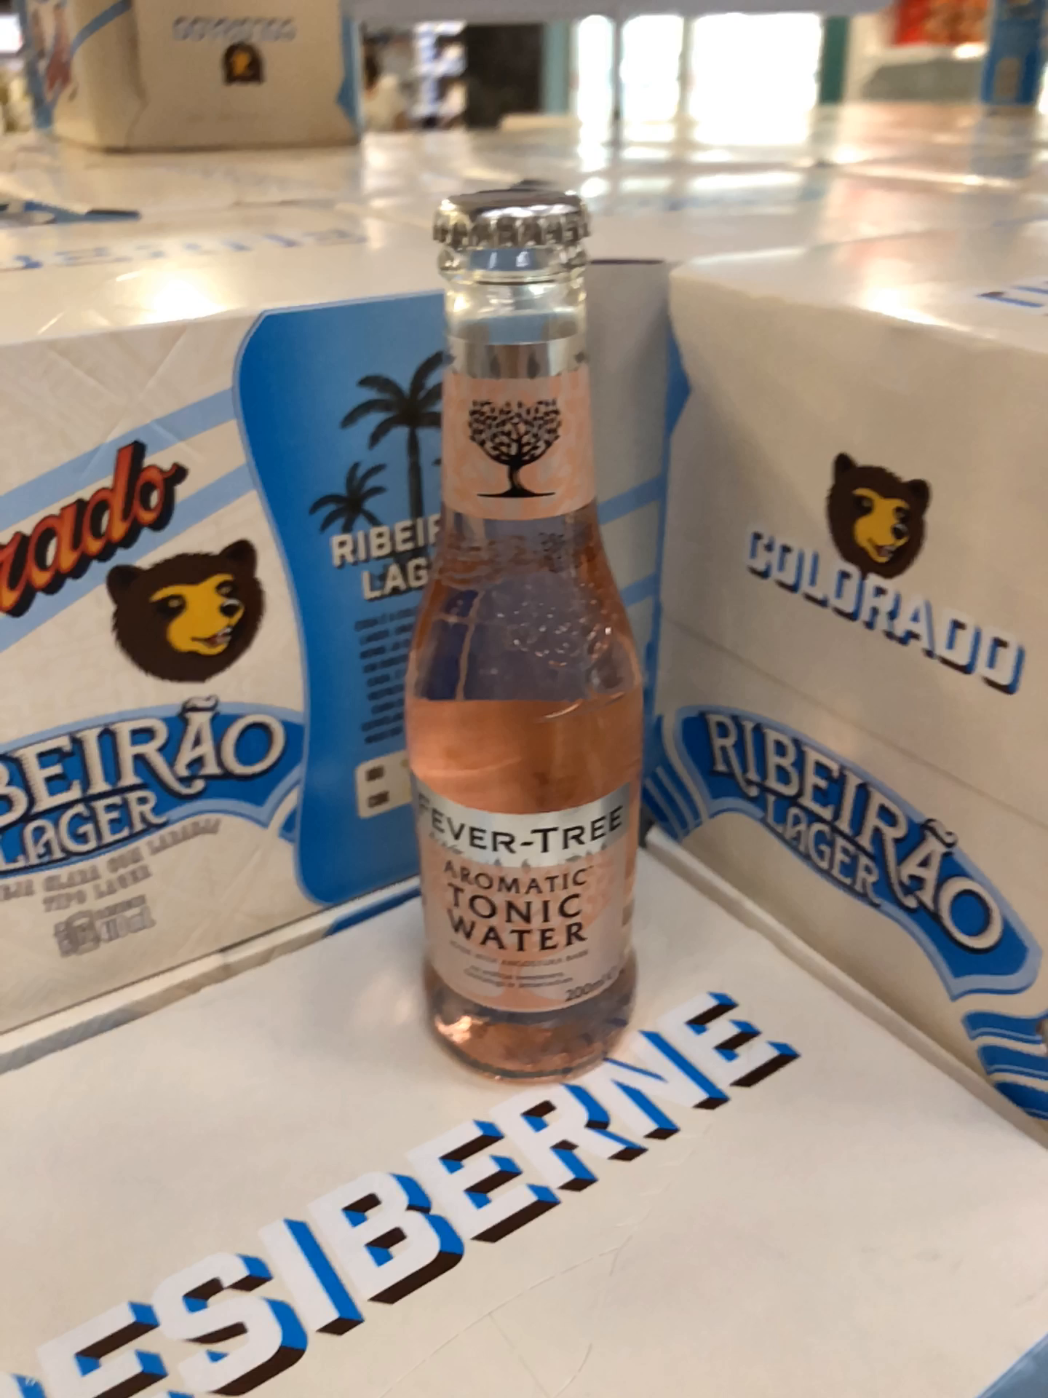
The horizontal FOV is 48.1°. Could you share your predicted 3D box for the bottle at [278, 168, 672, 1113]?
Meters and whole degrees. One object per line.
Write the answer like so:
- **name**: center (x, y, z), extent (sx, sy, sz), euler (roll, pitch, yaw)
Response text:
- **bottle**: center (-0.005, -0.005, 0.245), extent (0.060, 0.189, 0.050), euler (3, 27, 7)
